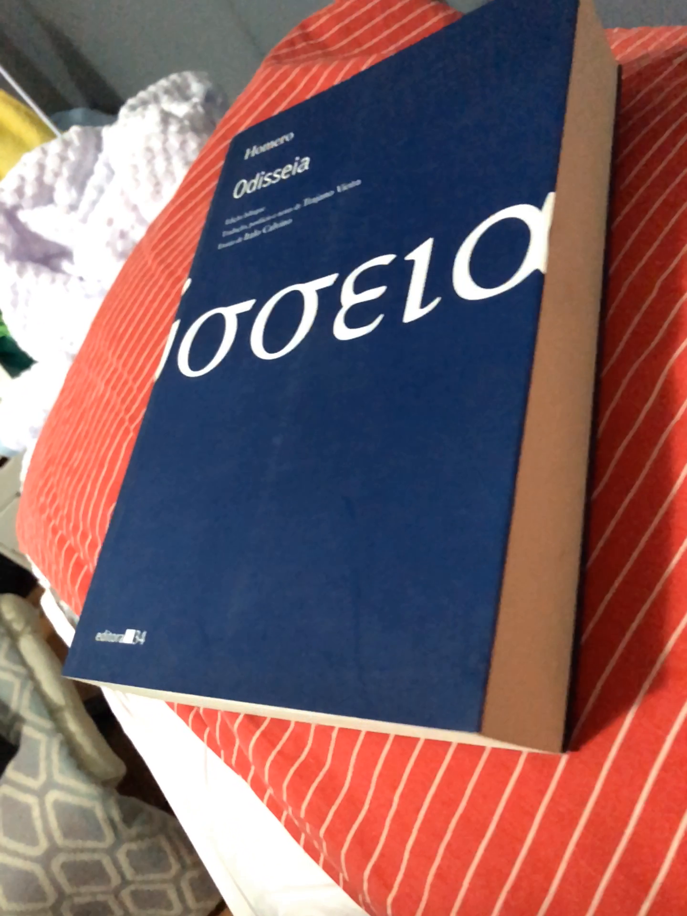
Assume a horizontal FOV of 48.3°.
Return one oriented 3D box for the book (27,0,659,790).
[{"bbox_3d":[0.001,-0.036,0.244,0.171,0.040,0.231,-8,60,40],"label":"book"}]
